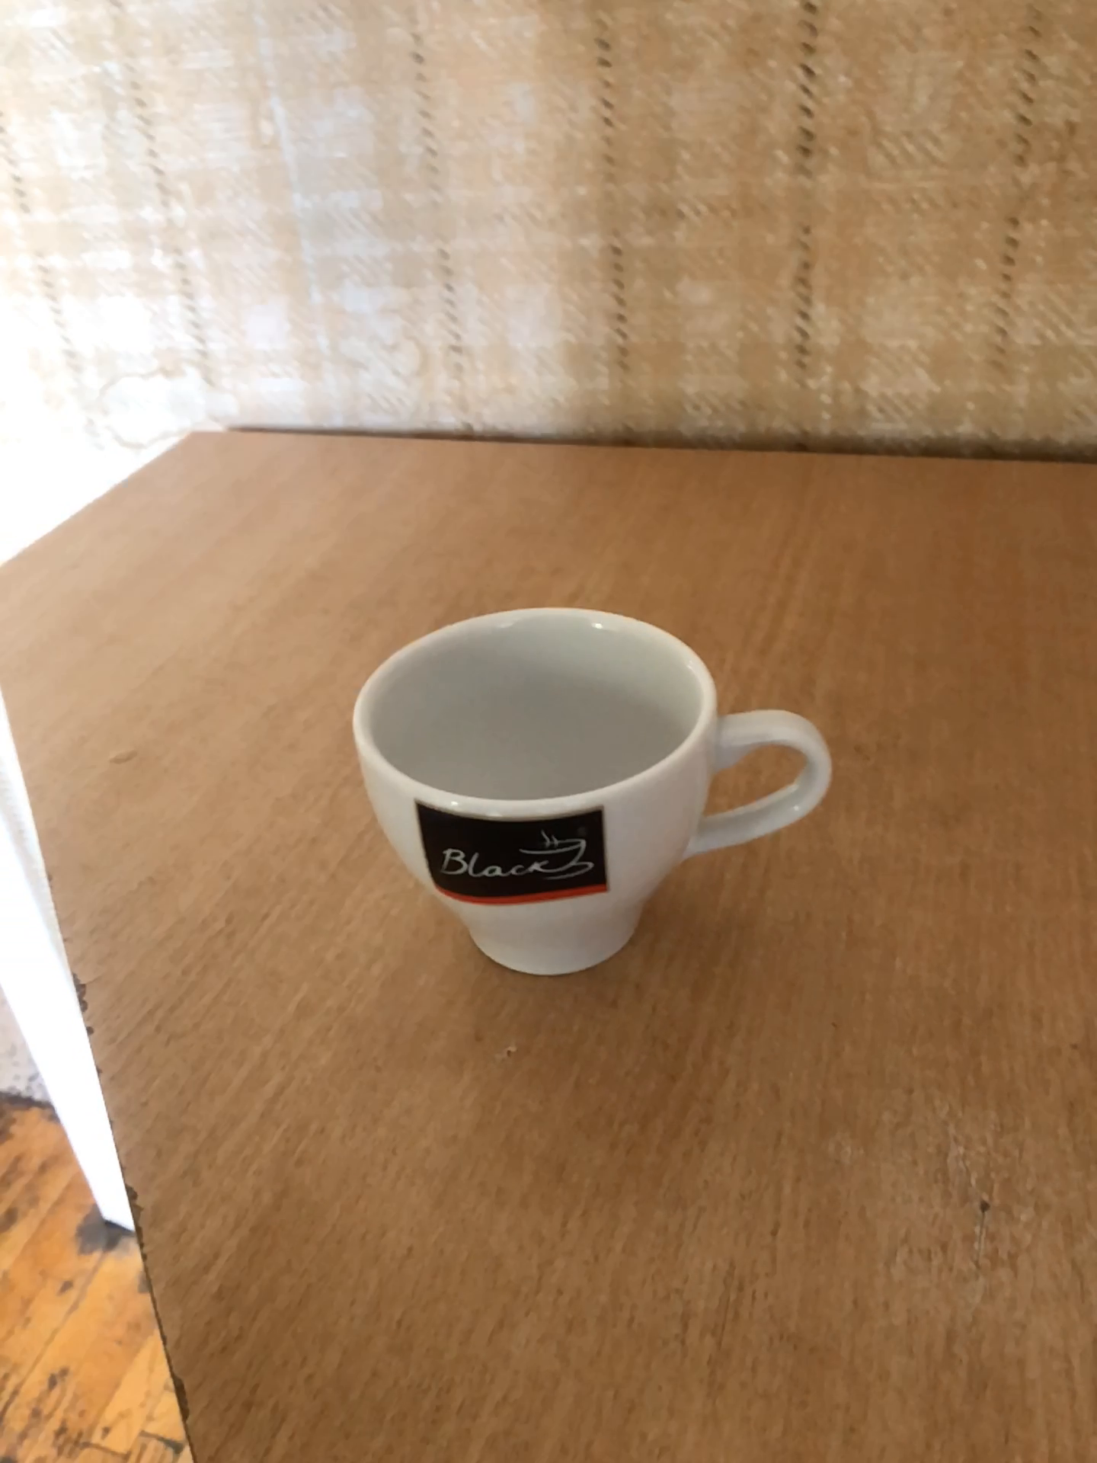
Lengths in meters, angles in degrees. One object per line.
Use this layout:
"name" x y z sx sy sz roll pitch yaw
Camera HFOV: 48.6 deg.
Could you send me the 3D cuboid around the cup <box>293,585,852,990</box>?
"cup" 0.009 0.010 0.272 0.104 0.050 0.081 -2 33 7
